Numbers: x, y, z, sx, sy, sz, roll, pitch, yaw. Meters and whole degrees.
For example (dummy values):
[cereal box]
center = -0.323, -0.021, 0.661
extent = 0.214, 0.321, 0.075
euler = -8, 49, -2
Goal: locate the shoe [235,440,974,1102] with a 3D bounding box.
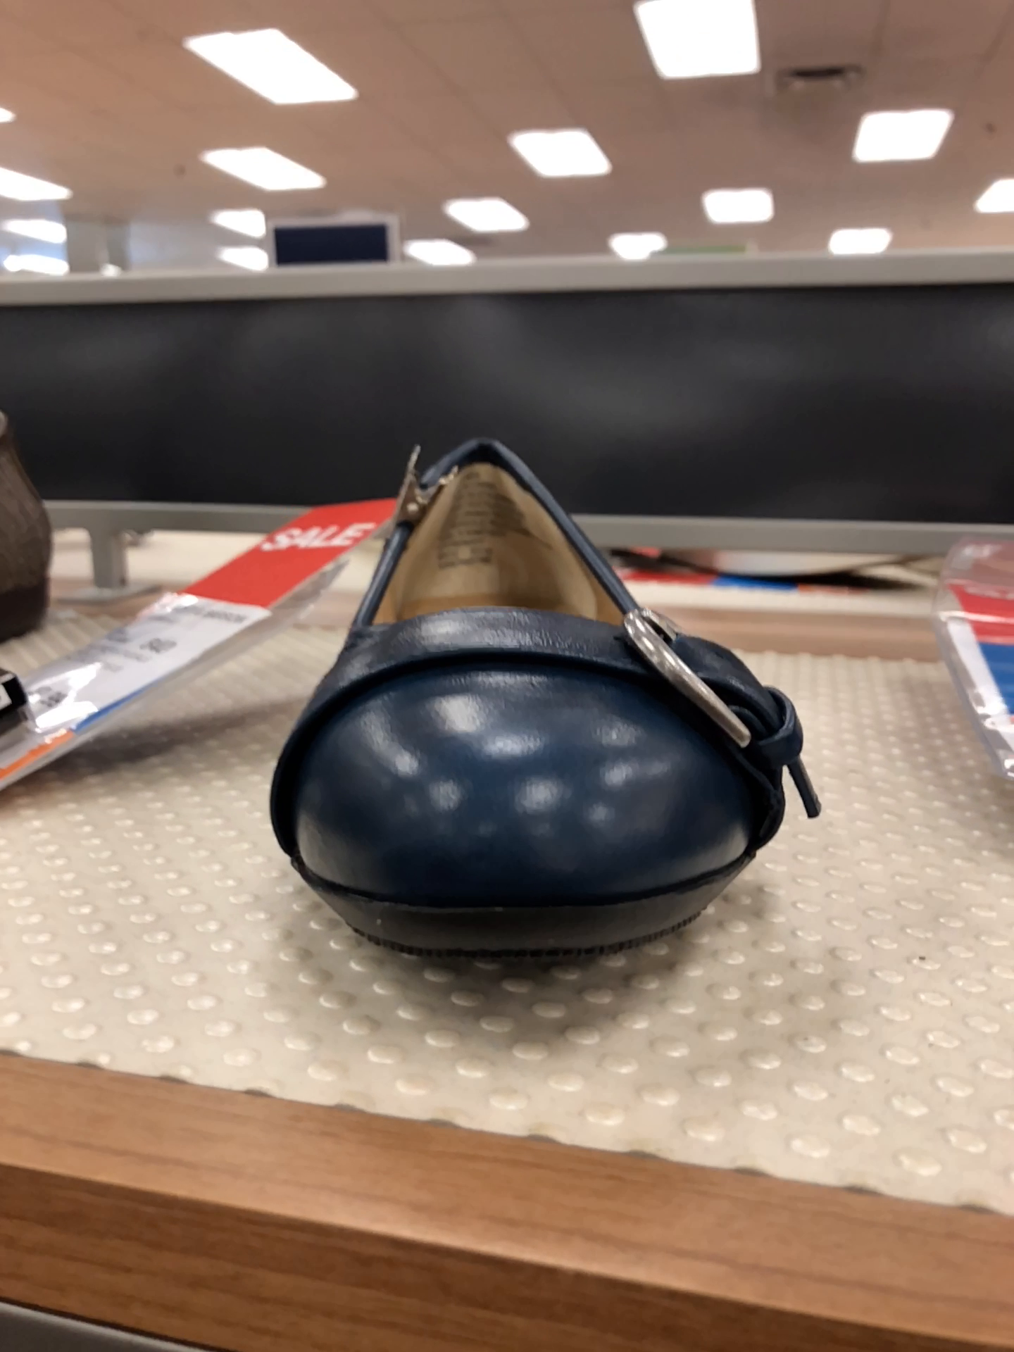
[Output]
[shoe]
center = 0.001, -0.015, 0.279
extent = 0.088, 0.081, 0.280
euler = -1, 12, -5
